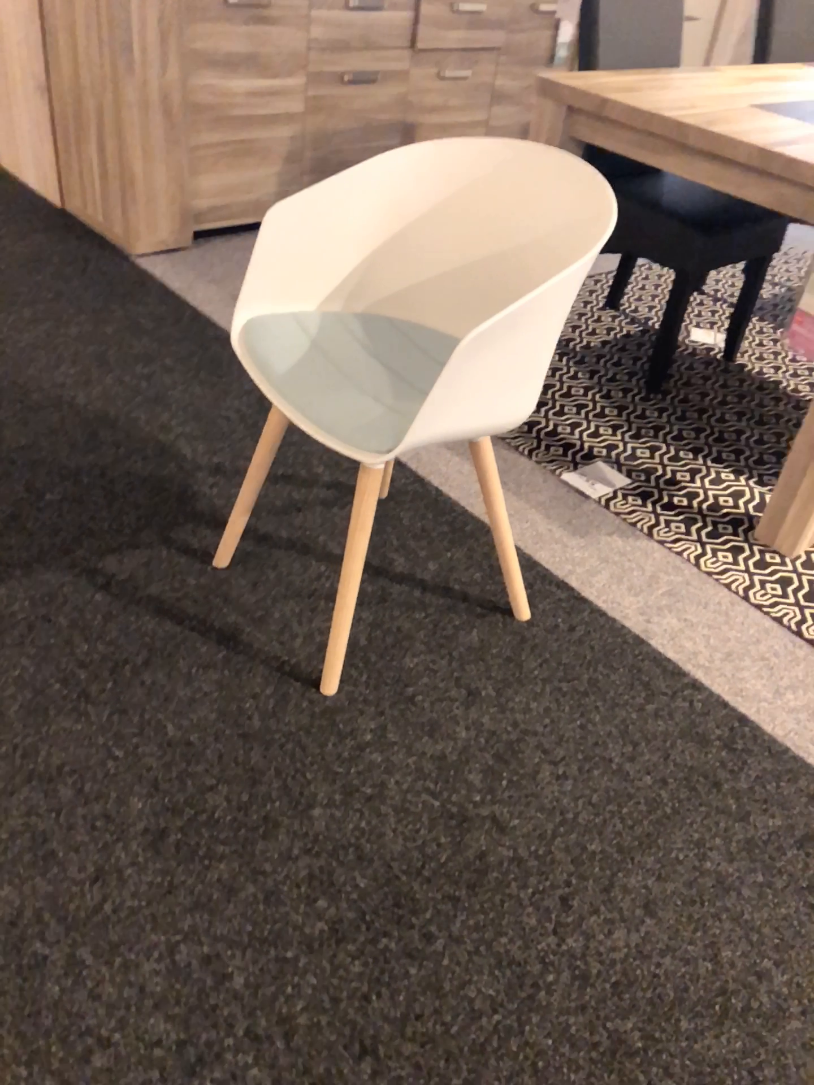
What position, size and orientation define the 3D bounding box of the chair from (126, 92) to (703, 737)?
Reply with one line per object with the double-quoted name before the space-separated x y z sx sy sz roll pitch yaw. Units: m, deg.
"chair" -0.035 -0.242 1.443 0.583 0.765 0.551 -20 45 -33
